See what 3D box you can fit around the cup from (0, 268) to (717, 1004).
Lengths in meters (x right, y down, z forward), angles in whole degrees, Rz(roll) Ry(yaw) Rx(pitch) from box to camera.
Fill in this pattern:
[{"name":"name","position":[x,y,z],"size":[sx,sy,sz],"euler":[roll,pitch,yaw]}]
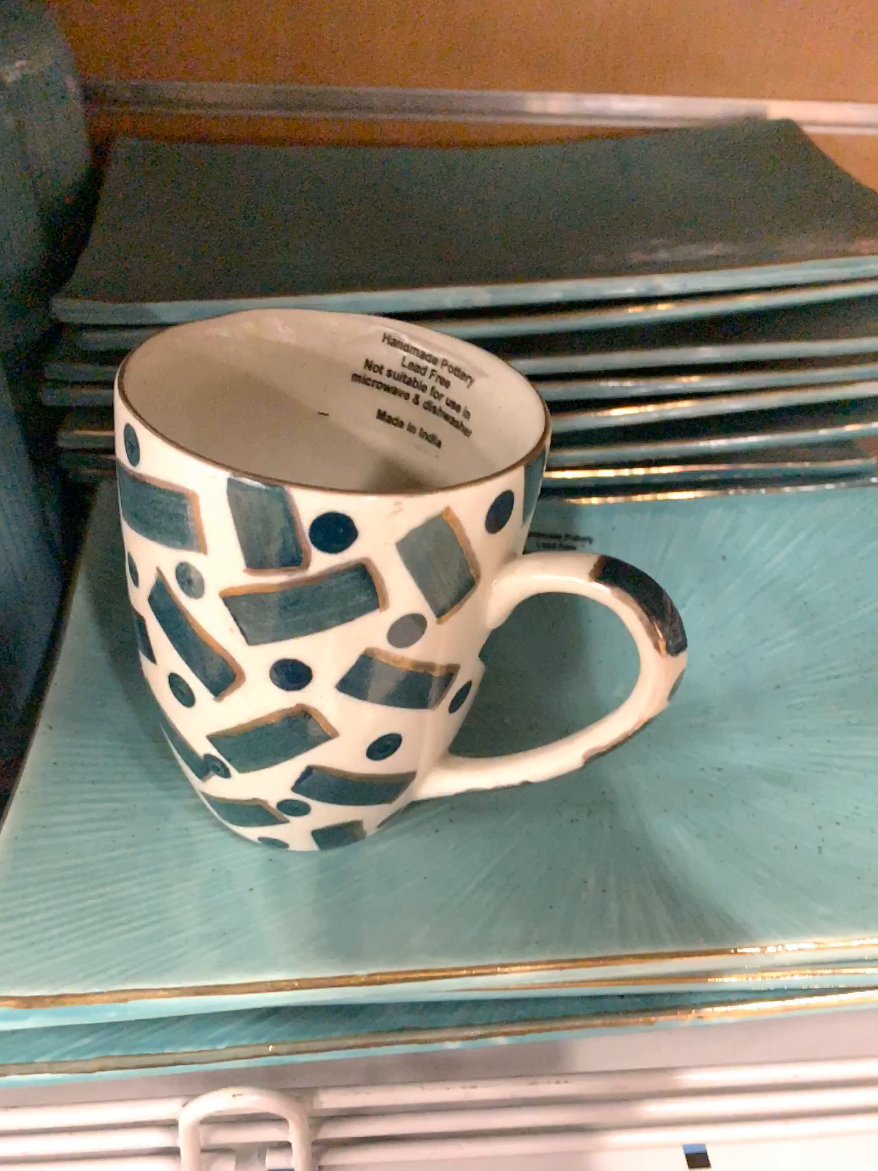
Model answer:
[{"name":"cup","position":[-0.018,0.003,0.169],"size":[0.110,0.080,0.080],"euler":[14,34,5]}]
